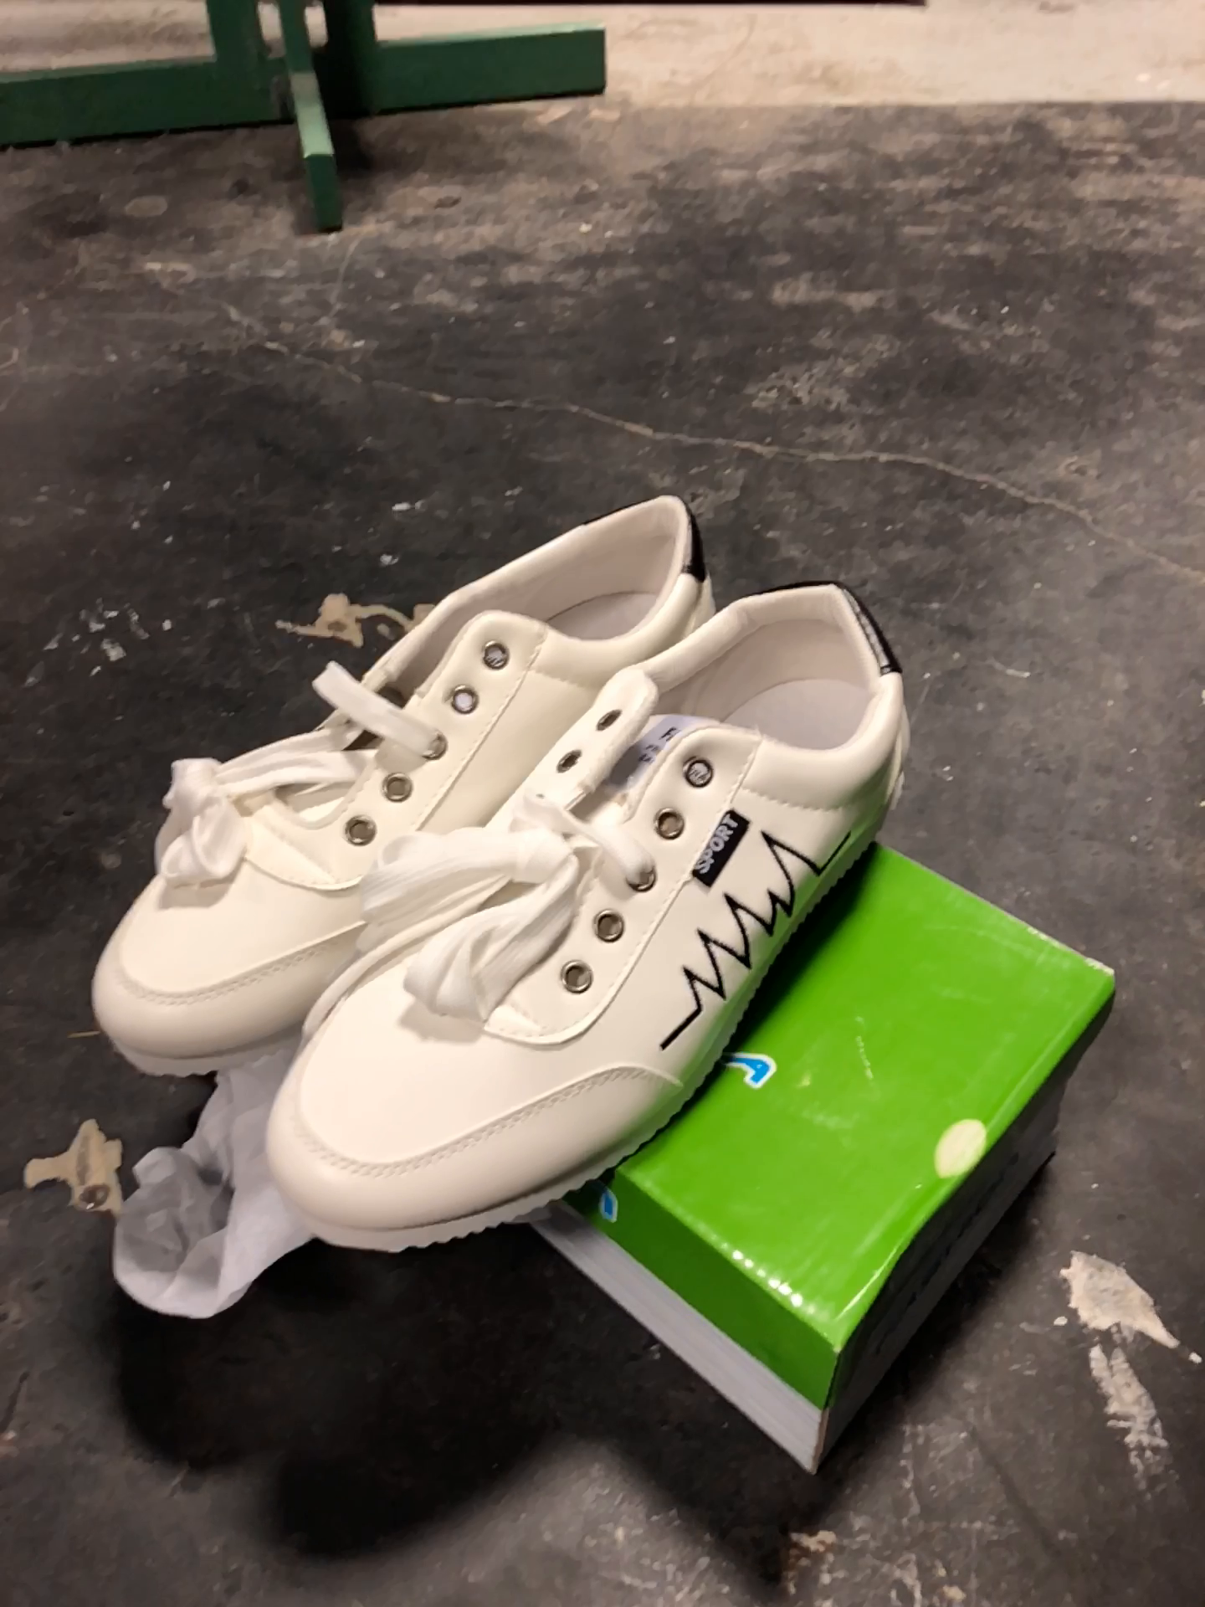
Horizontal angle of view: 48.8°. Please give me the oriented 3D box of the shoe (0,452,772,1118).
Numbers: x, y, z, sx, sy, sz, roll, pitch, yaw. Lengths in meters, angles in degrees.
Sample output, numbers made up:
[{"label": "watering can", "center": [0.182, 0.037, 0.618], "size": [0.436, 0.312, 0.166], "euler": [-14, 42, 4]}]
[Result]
[{"label": "shoe", "center": [-0.063, -0.025, 0.476], "size": [0.090, 0.079, 0.281], "euler": [28, 51, 36]}]

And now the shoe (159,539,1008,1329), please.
[{"label": "shoe", "center": [0.013, 0.020, 0.429], "size": [0.090, 0.079, 0.281], "euler": [28, 51, 36]}]
